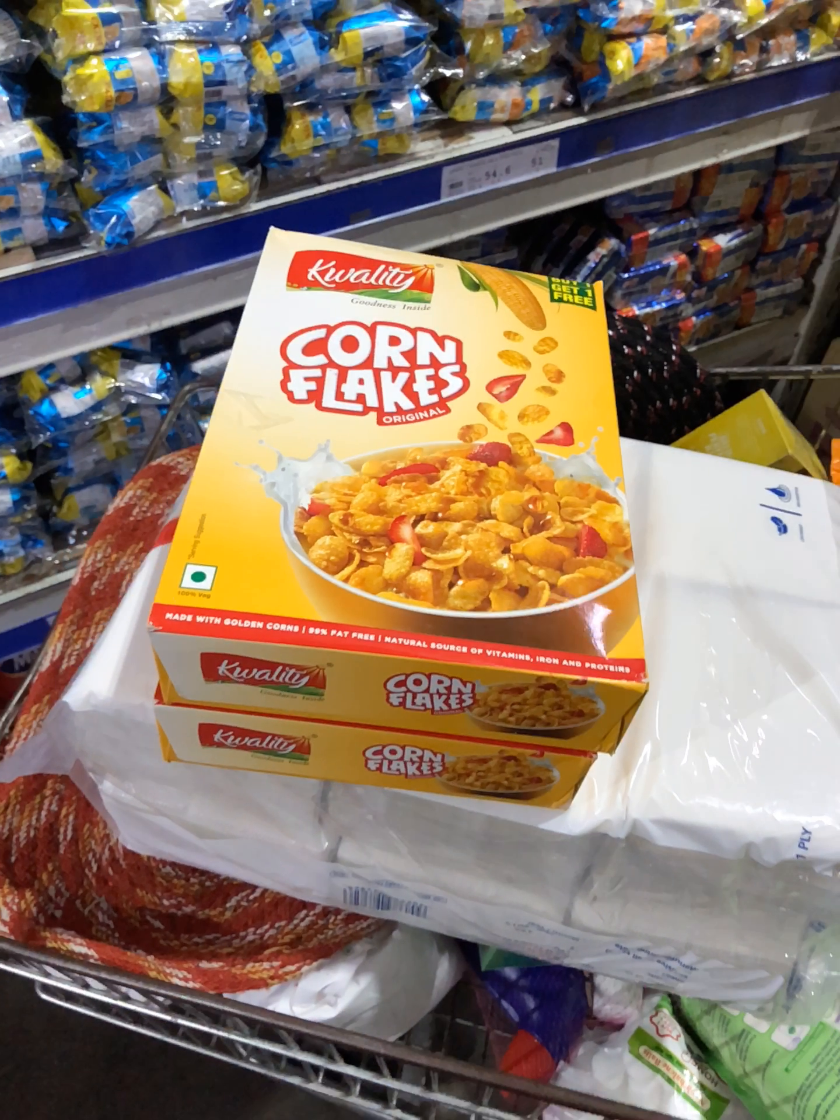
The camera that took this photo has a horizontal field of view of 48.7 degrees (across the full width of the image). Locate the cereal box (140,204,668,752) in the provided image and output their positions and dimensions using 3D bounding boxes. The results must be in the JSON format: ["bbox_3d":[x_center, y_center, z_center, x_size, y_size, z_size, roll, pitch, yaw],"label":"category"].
[{"bbox_3d":[0.000,-0.054,0.435,0.190,0.060,0.261,7,52,-3],"label":"cereal box"}]

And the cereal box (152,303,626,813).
[{"bbox_3d":[-0.008,-0.014,0.497,0.200,0.070,0.261,7,52,-3],"label":"cereal box"}]
